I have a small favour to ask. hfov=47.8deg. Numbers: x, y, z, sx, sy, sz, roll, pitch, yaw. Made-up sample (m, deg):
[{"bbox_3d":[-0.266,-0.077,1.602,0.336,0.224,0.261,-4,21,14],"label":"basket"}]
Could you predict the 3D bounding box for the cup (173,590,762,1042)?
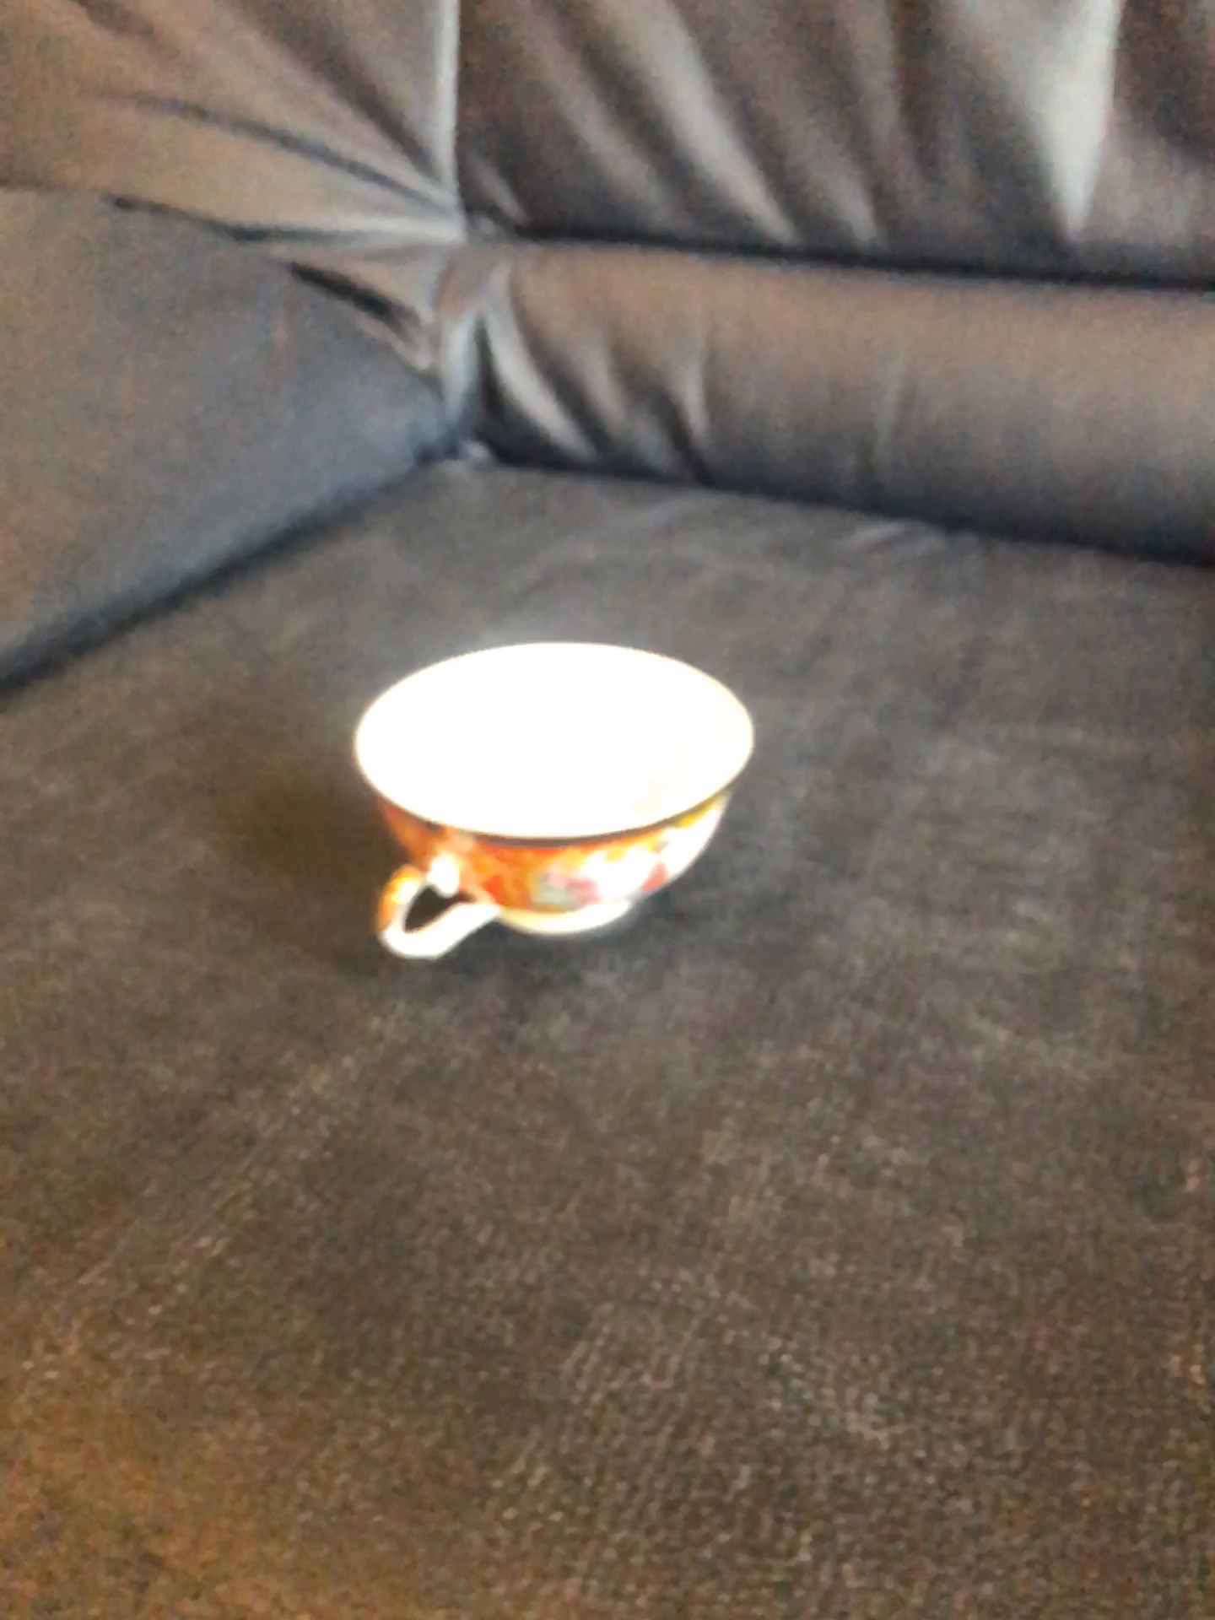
[{"bbox_3d":[-0.030,-0.007,0.347,0.100,0.041,0.107,-1,34,1],"label":"cup"}]
